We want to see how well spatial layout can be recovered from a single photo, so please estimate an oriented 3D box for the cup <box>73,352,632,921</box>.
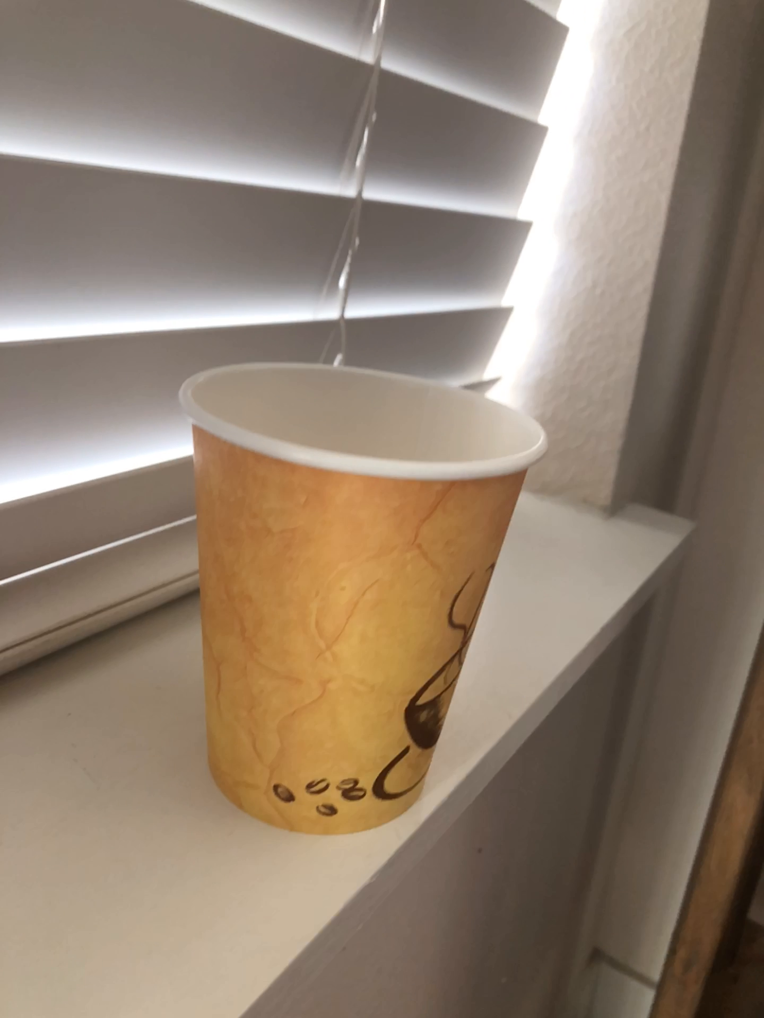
[{"bbox_3d":[-0.007,0.017,0.218,0.093,0.088,0.096,7,19,-3],"label":"cup"}]
